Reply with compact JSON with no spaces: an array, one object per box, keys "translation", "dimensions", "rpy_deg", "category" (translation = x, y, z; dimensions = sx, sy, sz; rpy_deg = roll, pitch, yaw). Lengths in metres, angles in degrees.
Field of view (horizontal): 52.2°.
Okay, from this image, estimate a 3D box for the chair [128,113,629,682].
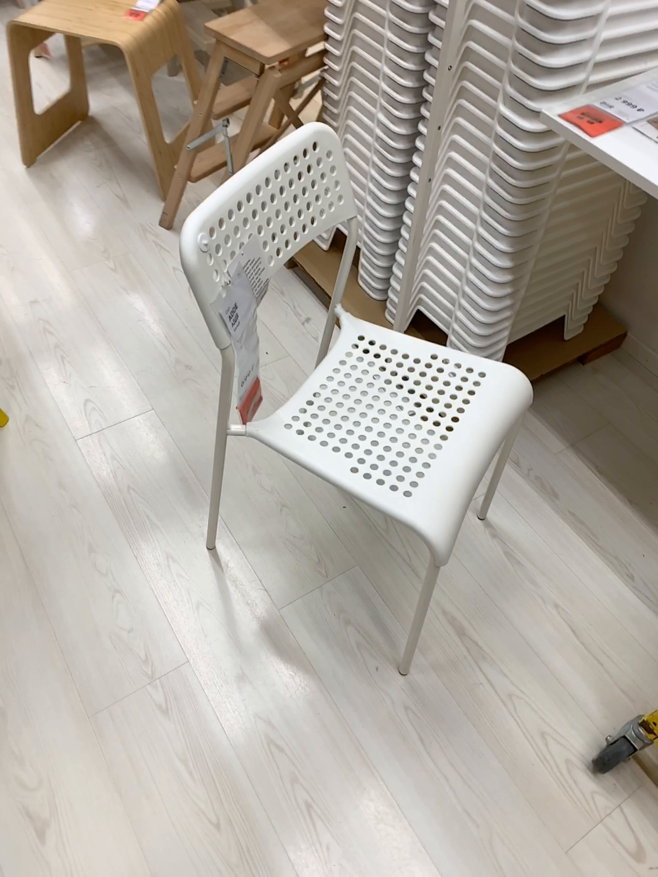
[{"translation":[0.060,-0.027,1.144],"dimensions":[0.500,0.746,0.425],"rpy_deg":[26,54,16],"category":"chair"}]
